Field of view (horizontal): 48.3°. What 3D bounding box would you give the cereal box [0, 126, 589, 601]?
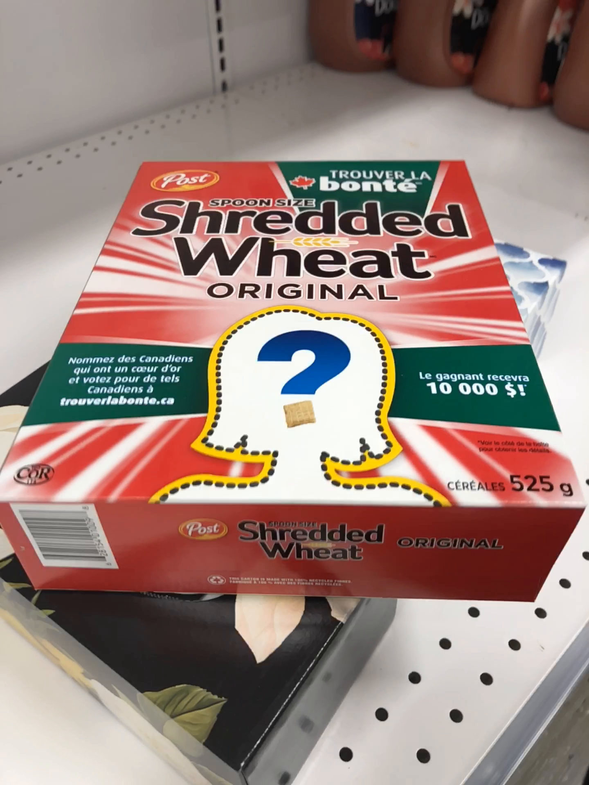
[{"bbox_3d":[-0.005,-0.043,0.321,0.230,0.060,0.281,0,43,3],"label":"cereal box"}]
